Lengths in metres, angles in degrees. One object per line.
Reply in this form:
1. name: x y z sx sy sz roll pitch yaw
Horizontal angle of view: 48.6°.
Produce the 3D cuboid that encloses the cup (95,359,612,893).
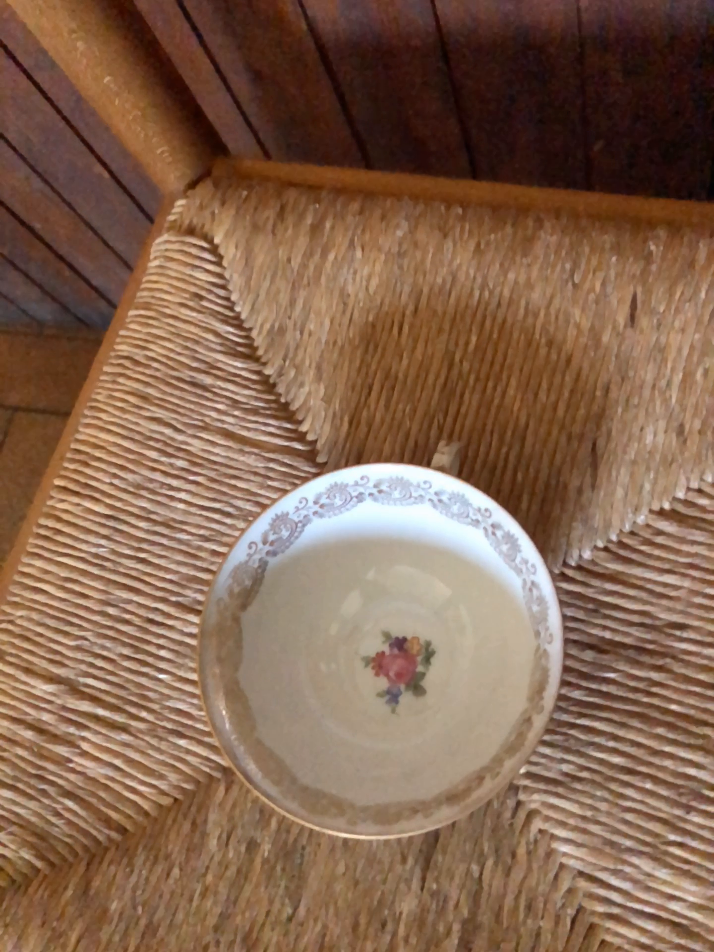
1. cup: 0.003 0.041 0.272 0.130 0.040 0.140 -6 64 14
